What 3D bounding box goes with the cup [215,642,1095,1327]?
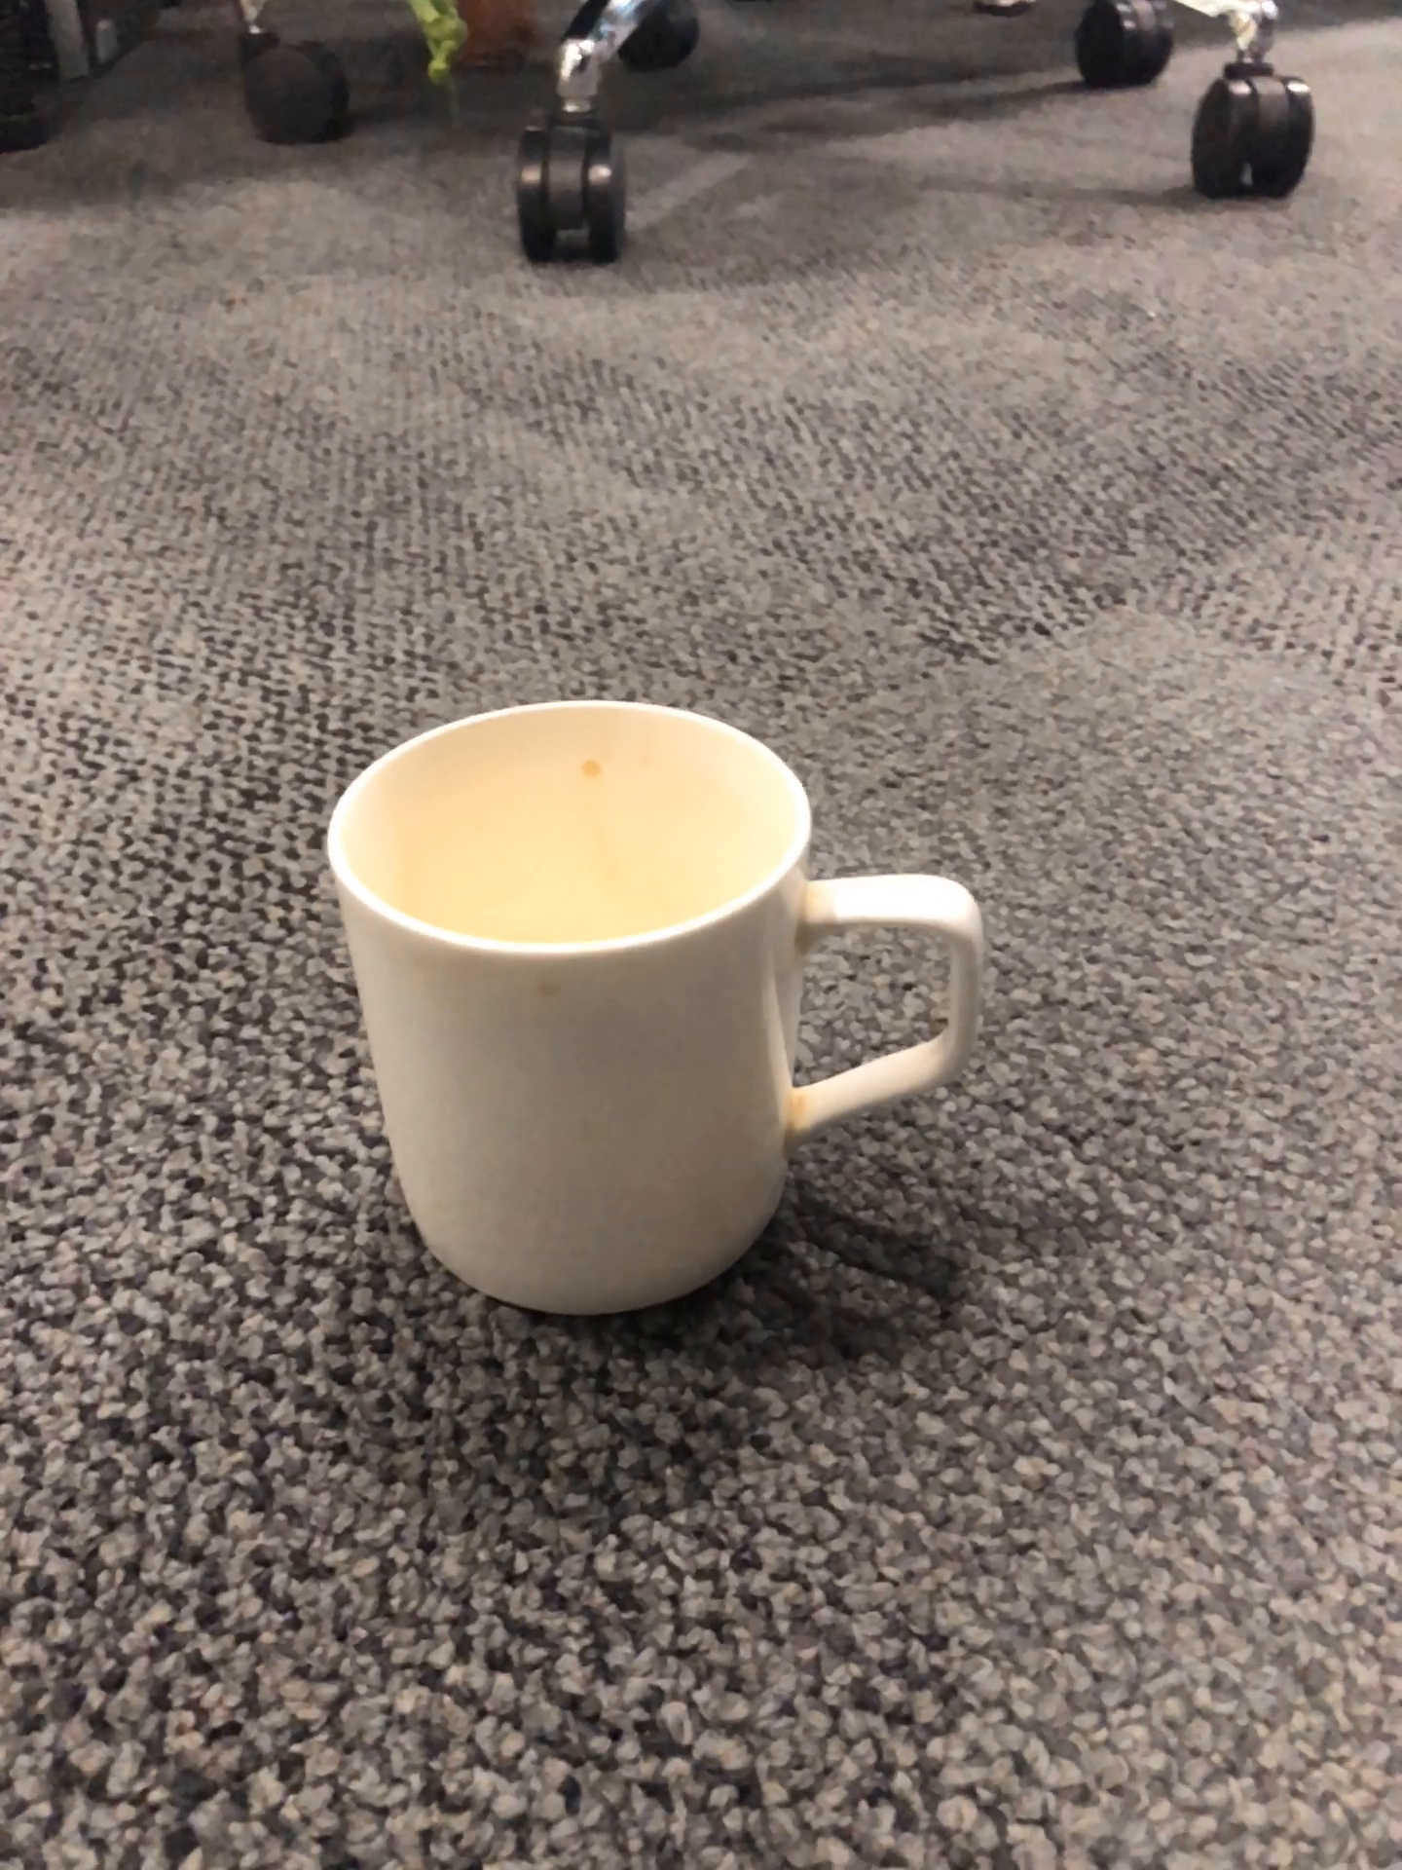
[{"bbox_3d":[-0.004,0.005,0.226,0.100,0.070,0.070,0,36,2],"label":"cup"}]
